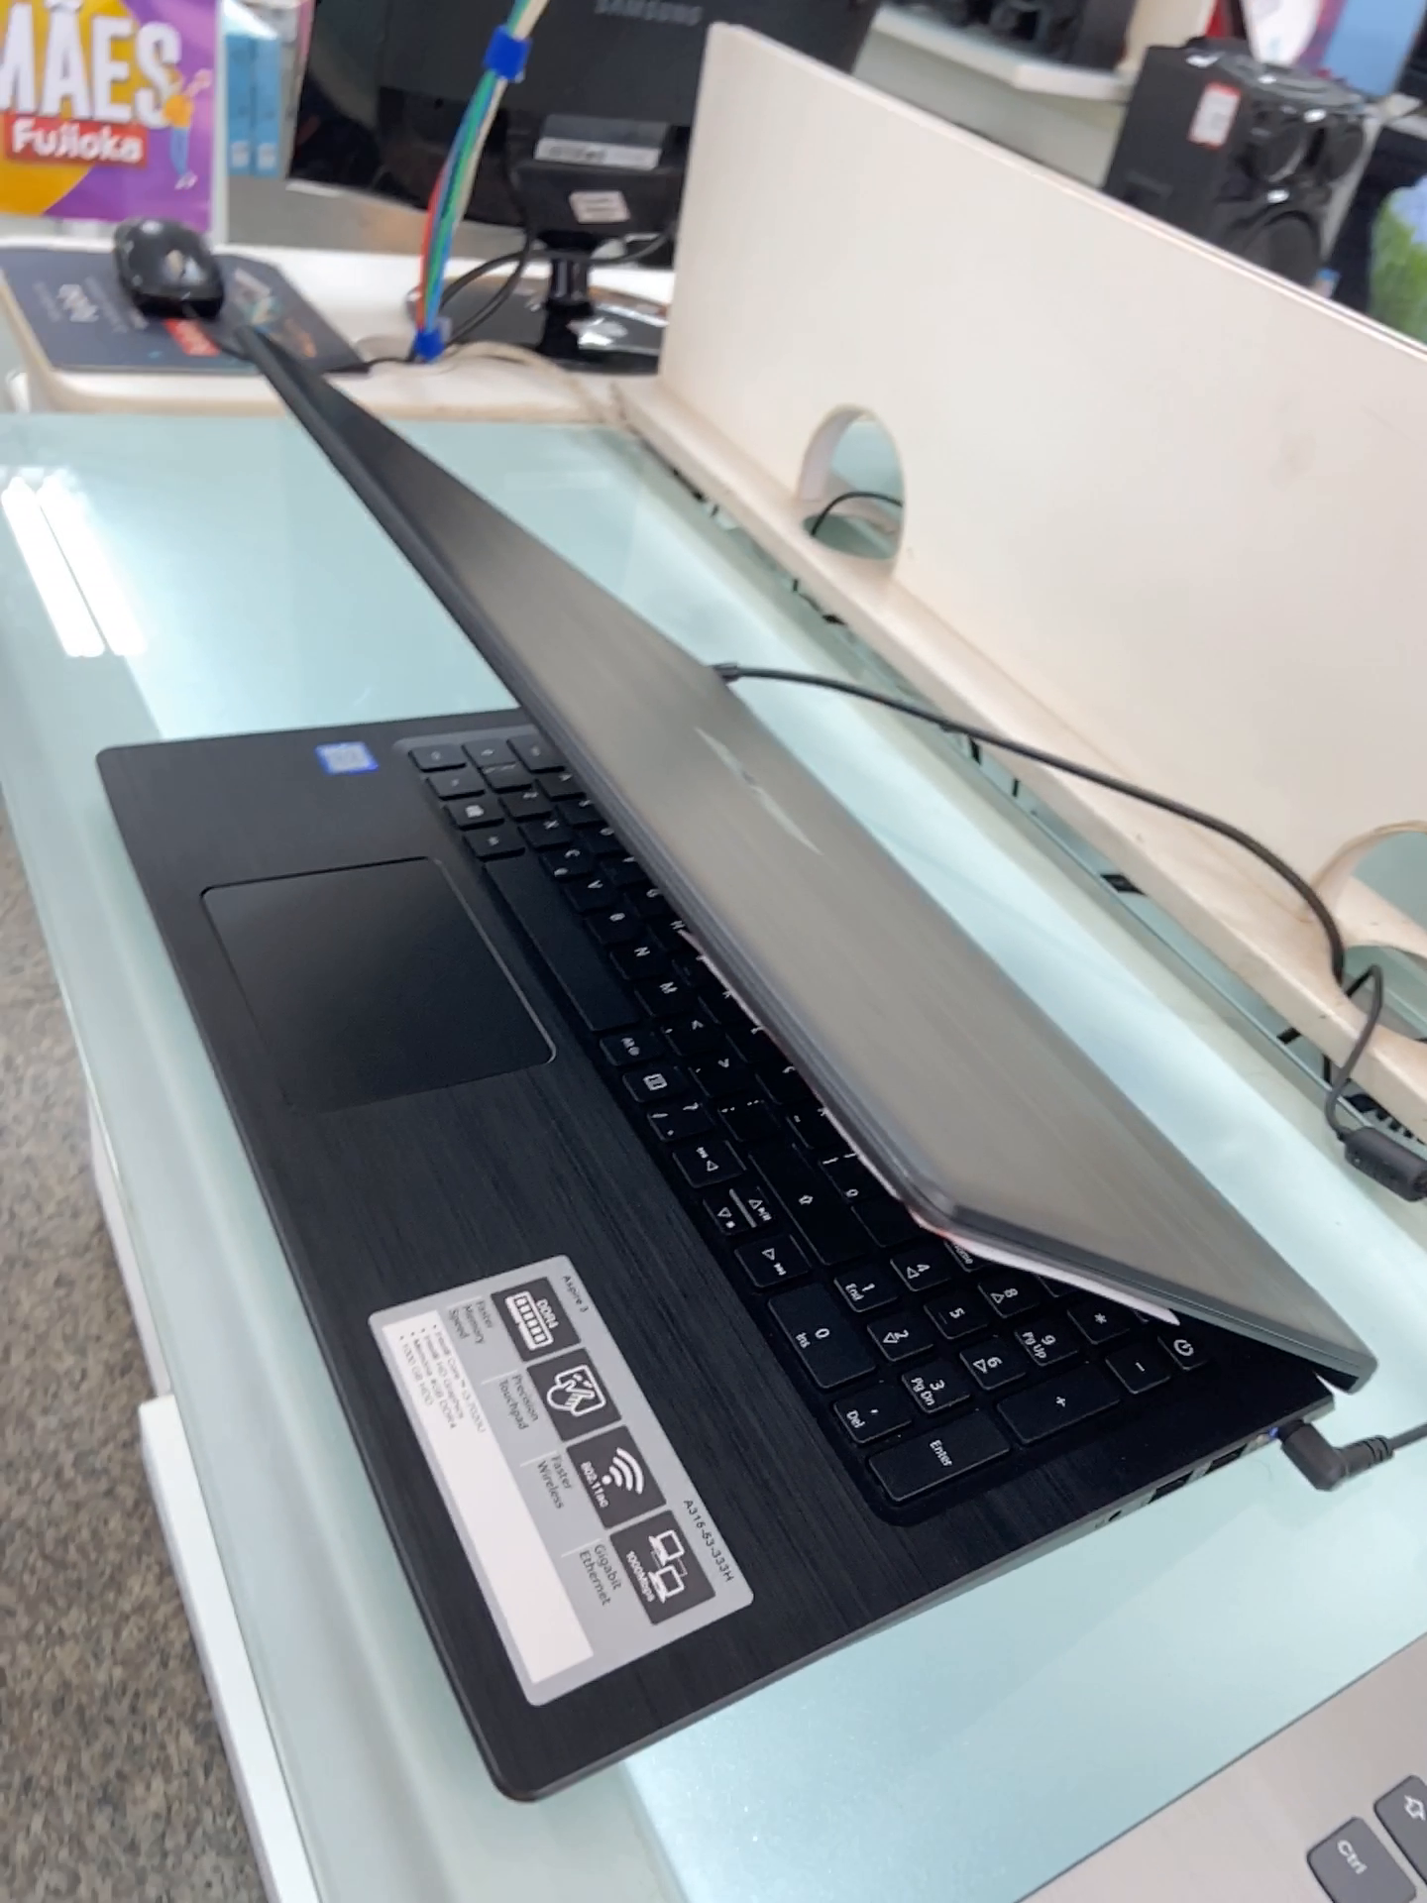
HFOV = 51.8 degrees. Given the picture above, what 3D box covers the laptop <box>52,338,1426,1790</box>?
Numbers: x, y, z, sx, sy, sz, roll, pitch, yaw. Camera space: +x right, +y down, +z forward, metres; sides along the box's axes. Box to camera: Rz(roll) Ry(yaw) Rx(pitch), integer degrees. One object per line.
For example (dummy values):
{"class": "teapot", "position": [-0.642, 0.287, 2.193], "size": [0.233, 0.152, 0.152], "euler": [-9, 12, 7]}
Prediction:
{"class": "laptop", "position": [-0.014, -0.031, 0.403], "size": [0.233, 0.142, 0.368], "euler": [-11, 43, -29]}
